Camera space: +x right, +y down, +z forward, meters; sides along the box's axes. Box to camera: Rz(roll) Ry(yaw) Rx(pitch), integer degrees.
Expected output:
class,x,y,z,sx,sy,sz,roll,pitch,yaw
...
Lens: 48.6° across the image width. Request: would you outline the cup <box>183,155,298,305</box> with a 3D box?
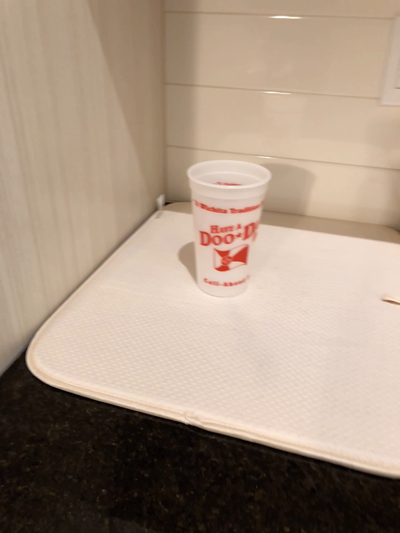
class,x,y,z,sx,sy,sz,roll,pitch,yaw
cup,0.040,-0.046,0.524,0.100,0.139,0.101,1,30,-1
